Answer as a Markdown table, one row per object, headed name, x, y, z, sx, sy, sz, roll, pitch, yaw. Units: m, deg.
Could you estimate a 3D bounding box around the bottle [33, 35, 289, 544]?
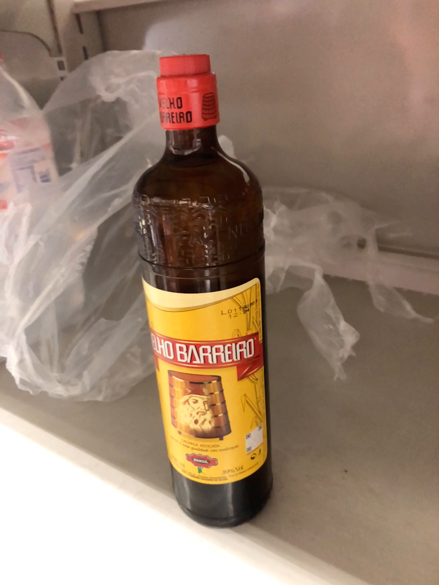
| name | x | y | z | sx | sy | sz | roll | pitch | yaw |
| --- | --- | --- | --- | --- | --- | --- | --- | --- | --- |
| bottle | -0.014 | 0.013 | 0.305 | 0.090 | 0.298 | 0.081 | 3 | 28 | 18 |
